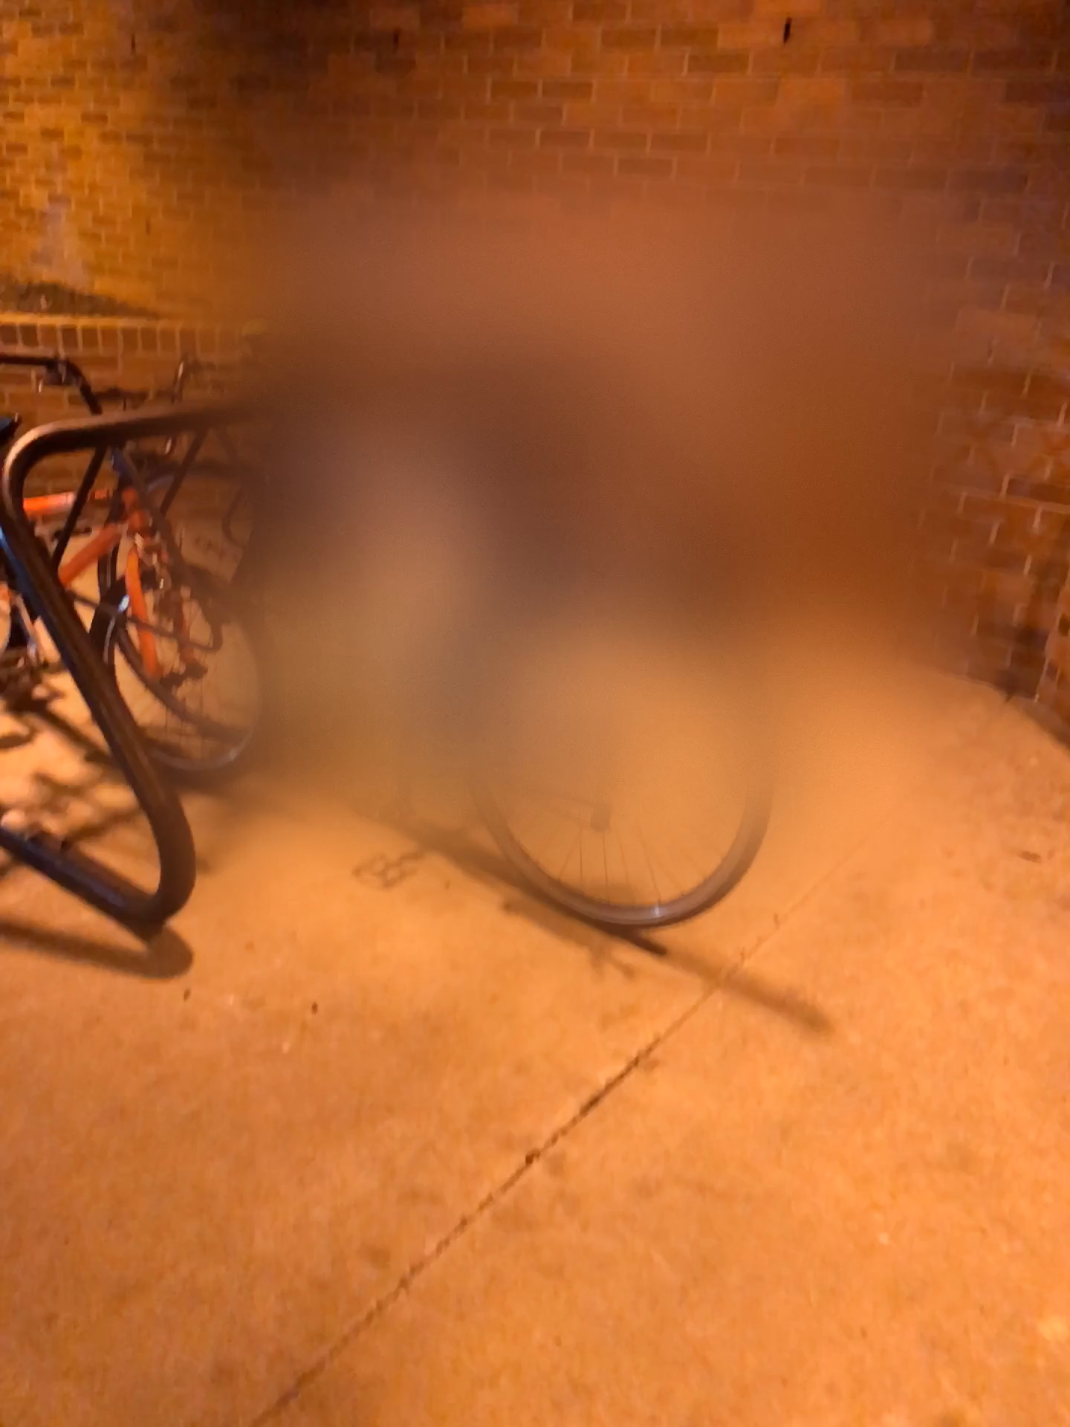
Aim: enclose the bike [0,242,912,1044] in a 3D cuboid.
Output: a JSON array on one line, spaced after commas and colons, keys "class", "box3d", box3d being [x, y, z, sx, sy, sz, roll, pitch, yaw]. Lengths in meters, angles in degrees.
[{"class": "bike", "box3d": [-0.271, -0.287, 2.212, 1.645, 0.864, 0.640, 23, 31, 29]}]
